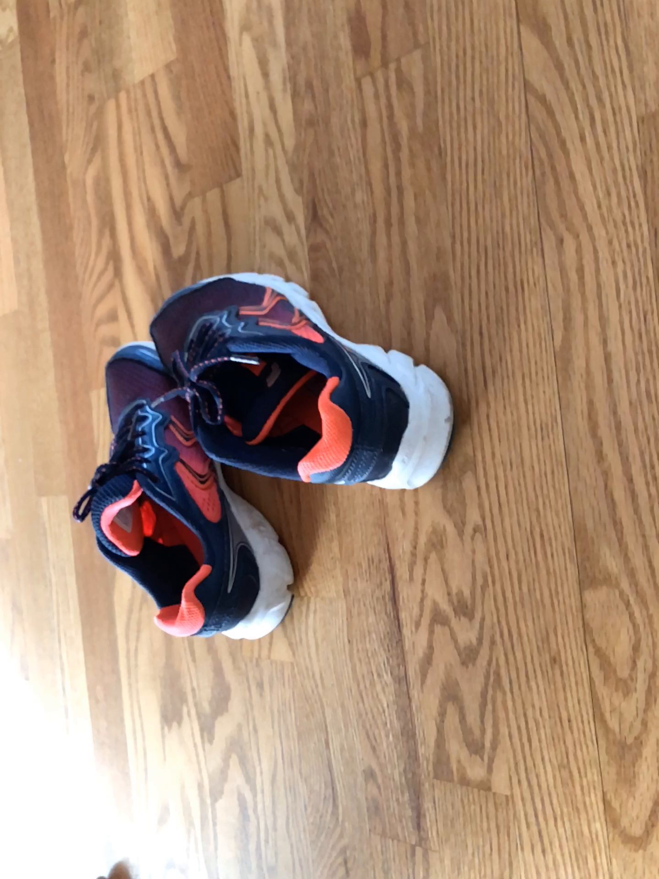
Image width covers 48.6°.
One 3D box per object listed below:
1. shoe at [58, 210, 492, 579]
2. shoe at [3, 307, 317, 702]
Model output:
[{"bbox_3d":[-0.052,-0.044,0.496,0.278,0.109,0.116,35,113,32],"label":"shoe"},{"bbox_3d":[-0.139,0.041,0.571,0.108,0.109,0.270,-42,67,33],"label":"shoe"}]
